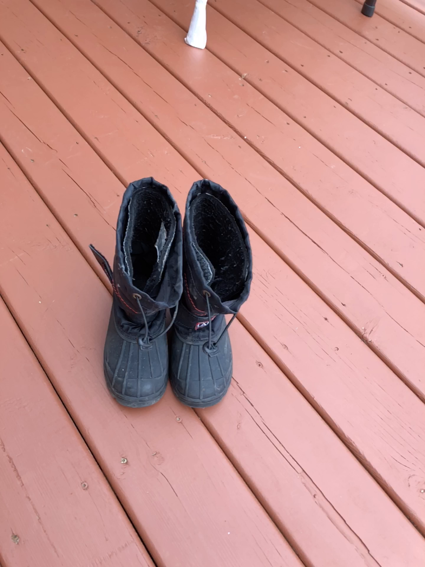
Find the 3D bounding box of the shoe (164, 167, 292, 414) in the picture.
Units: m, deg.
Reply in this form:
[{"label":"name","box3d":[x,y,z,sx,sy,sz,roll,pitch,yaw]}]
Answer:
[{"label":"shoe","box3d":[0.000,0.016,0.589,0.100,0.230,0.210,-4,56,-9]}]

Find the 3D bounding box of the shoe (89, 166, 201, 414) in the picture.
[{"label":"shoe","box3d":[-0.078,0.017,0.577,0.100,0.230,0.210,0,55,-7]}]
